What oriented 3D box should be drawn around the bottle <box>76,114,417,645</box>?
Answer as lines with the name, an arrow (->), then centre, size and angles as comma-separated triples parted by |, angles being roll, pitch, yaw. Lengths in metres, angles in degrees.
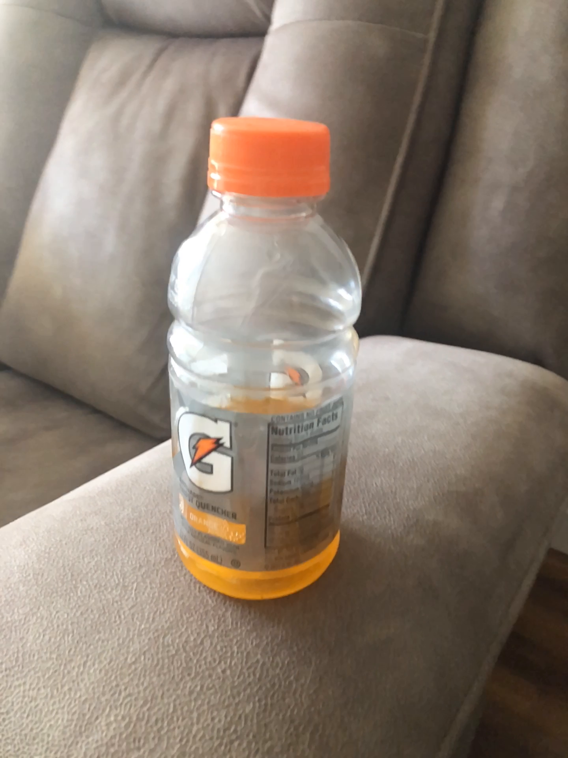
bottle -> -0.013, -0.002, 0.212 | 0.070, 0.149, 0.070 | 0, 30, 0
